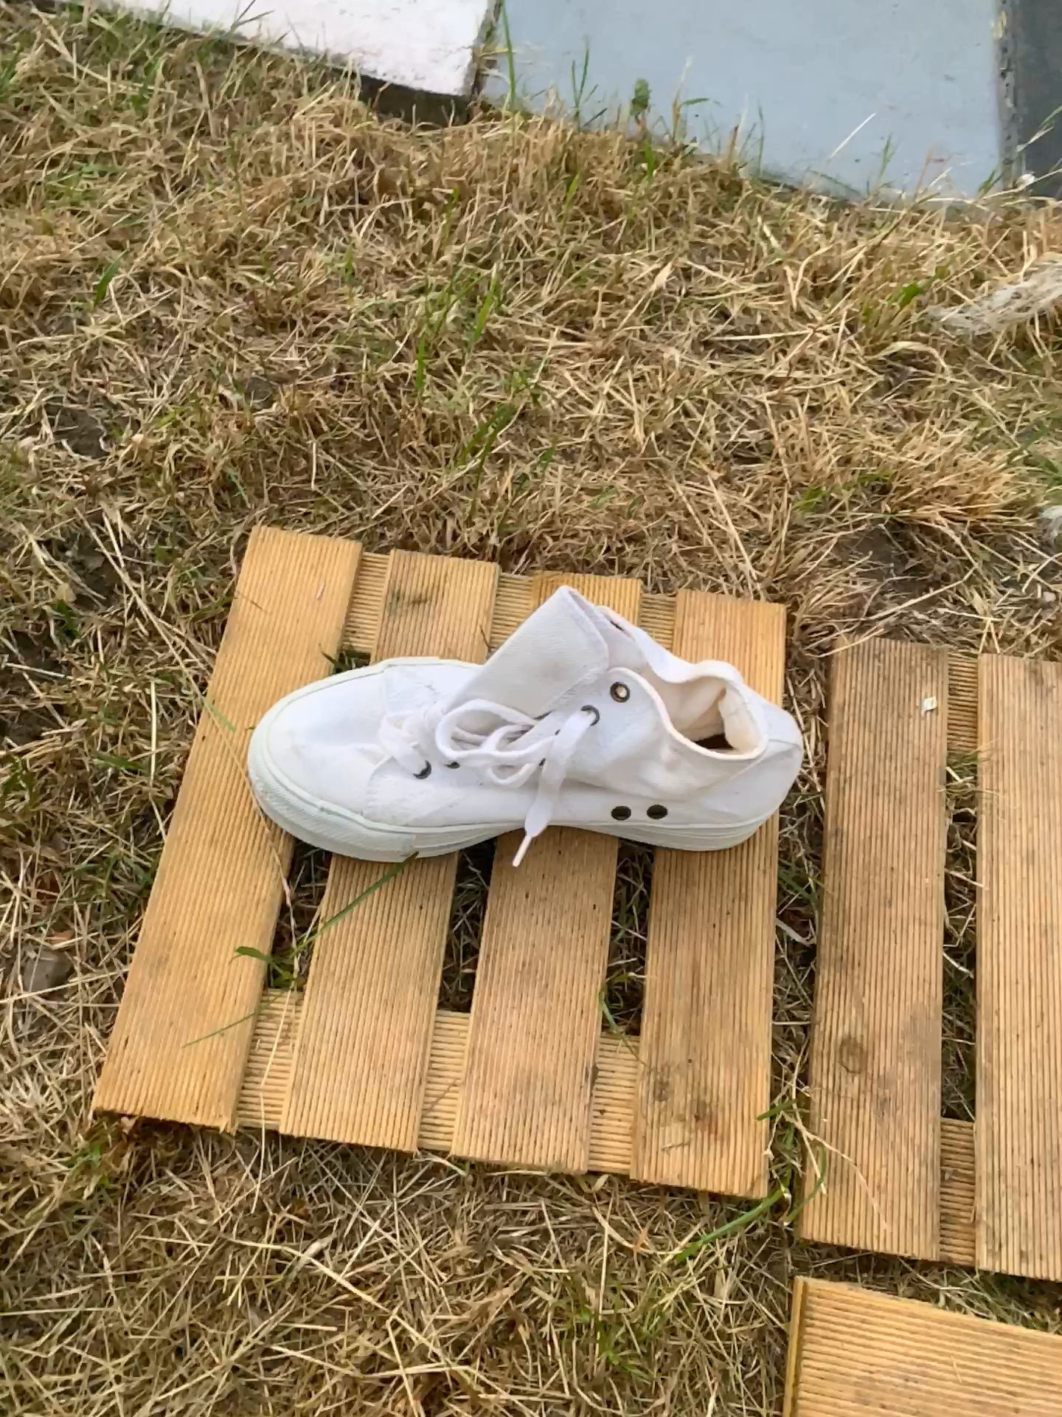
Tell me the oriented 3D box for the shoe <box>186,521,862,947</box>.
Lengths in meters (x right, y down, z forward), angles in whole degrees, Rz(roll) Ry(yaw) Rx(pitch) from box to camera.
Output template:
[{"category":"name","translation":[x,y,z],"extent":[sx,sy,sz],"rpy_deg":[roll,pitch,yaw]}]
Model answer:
[{"category":"shoe","translation":[-0.003,0.021,0.493],"extent":[0.260,0.129,0.100],"rpy_deg":[13,66,-4]}]
